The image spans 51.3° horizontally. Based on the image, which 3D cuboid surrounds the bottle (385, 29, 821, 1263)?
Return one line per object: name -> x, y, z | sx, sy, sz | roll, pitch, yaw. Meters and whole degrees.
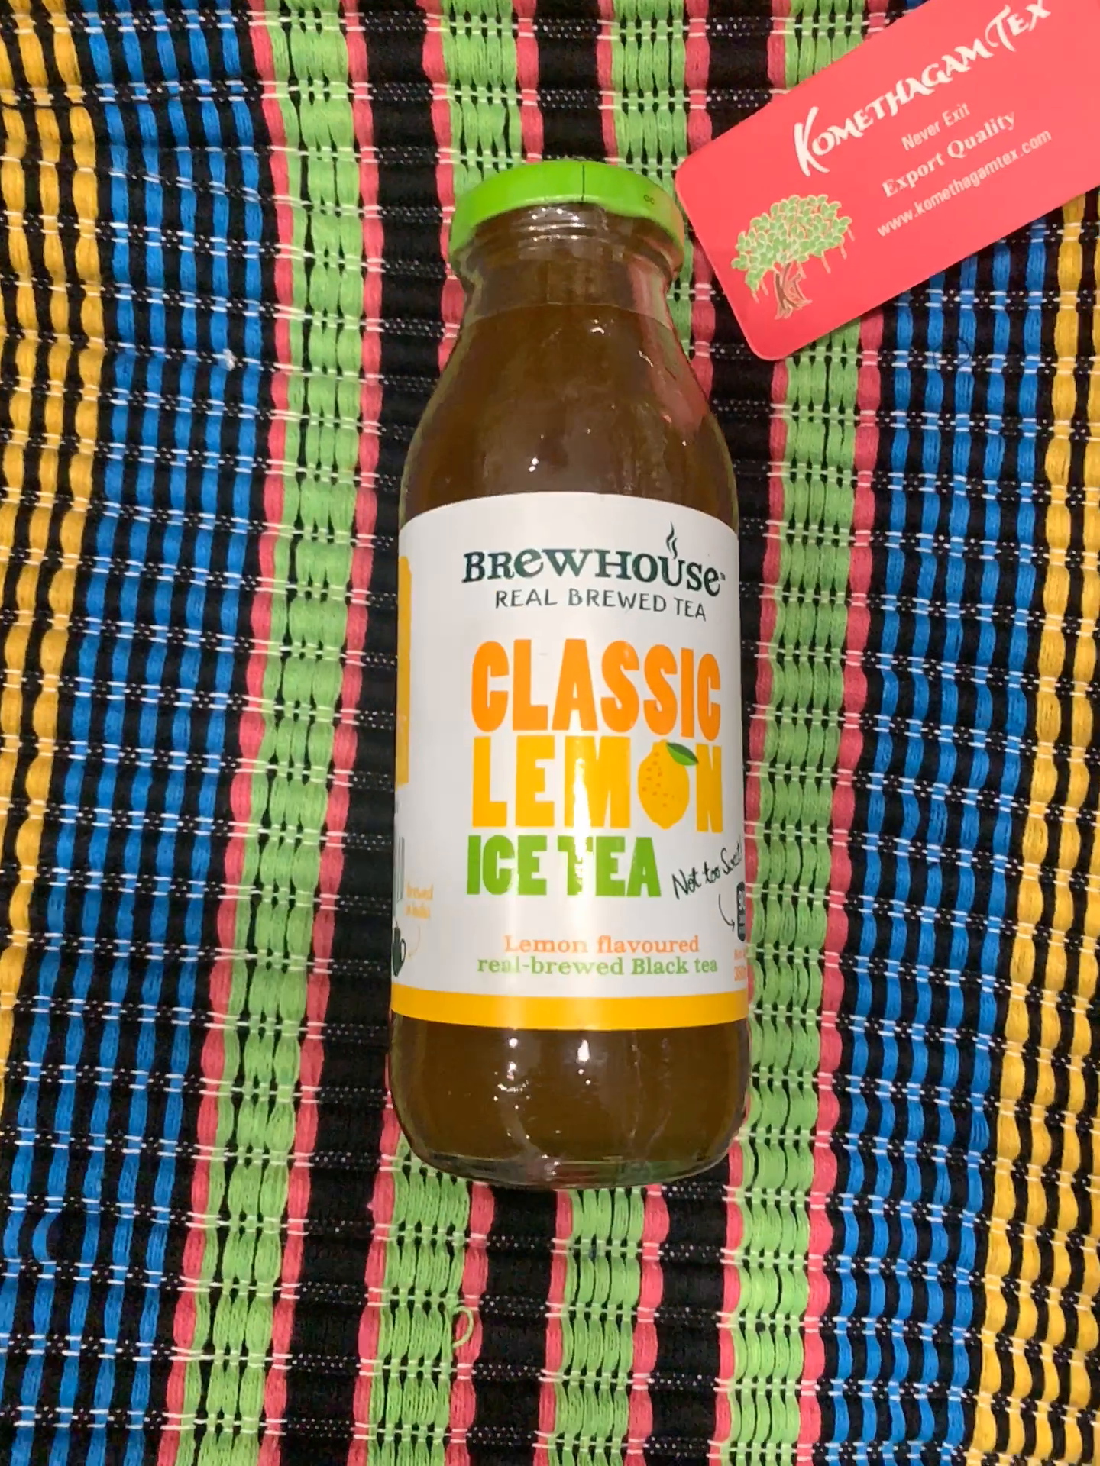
bottle -> 0.003, -0.015, 0.193 | 0.060, 0.050, 0.180 | 0, 82, -9
